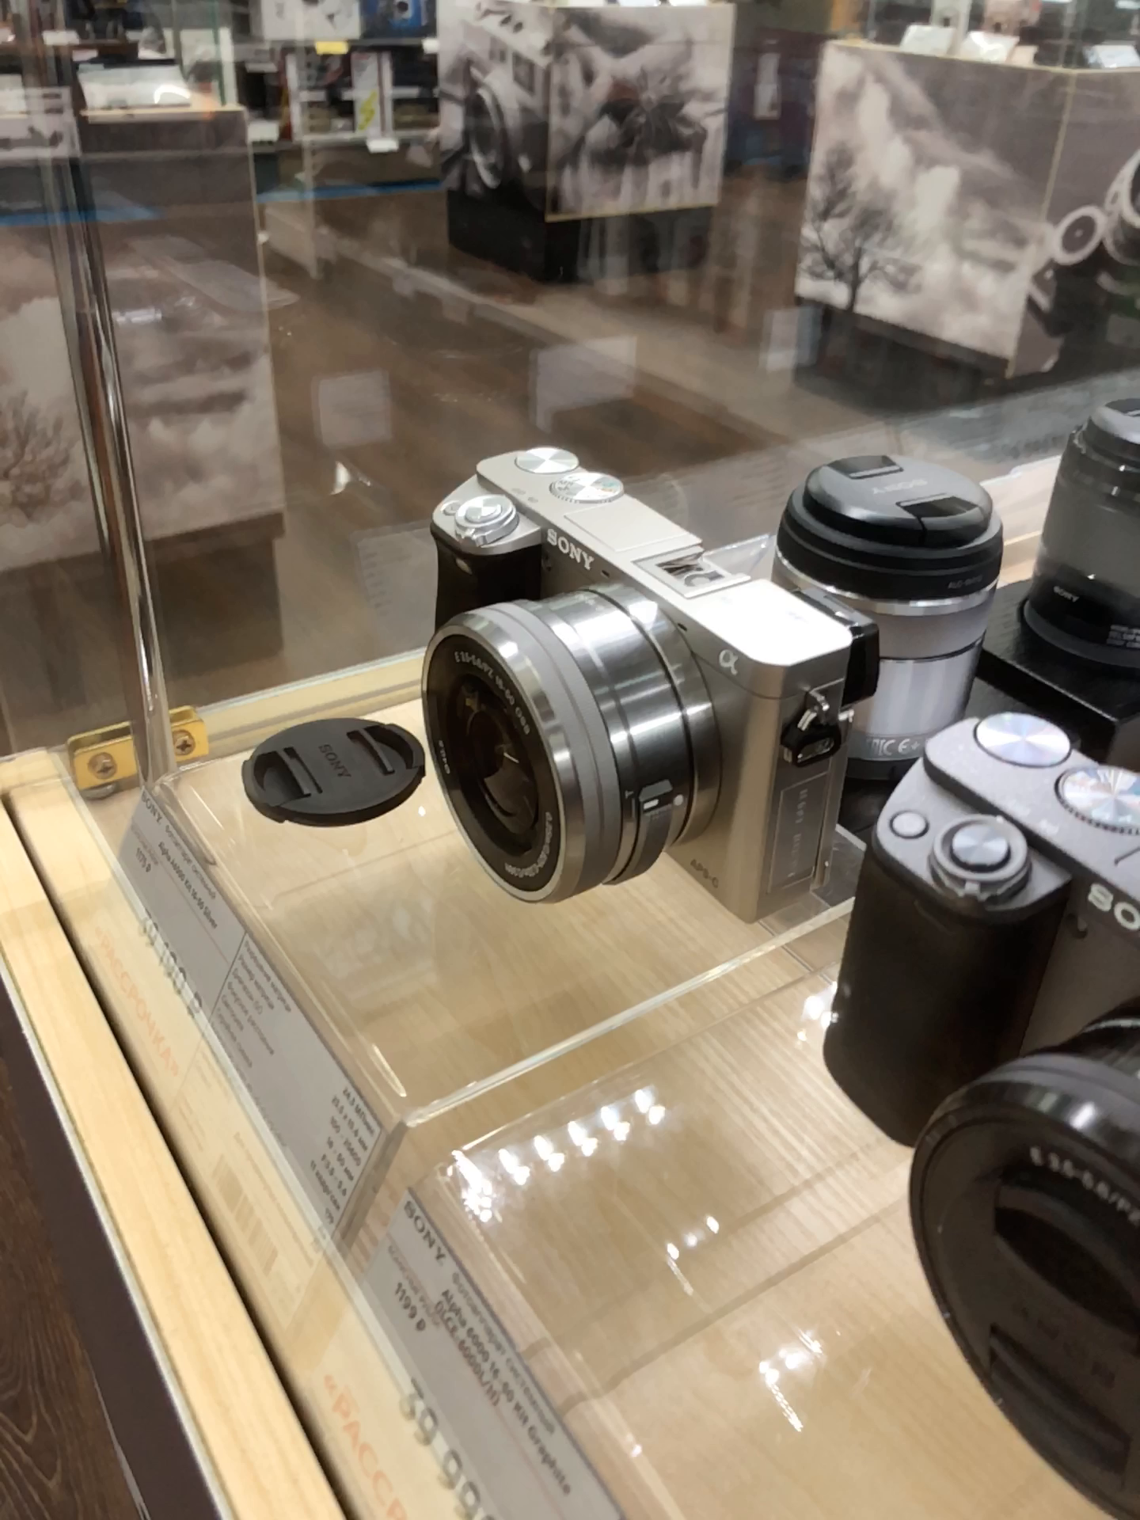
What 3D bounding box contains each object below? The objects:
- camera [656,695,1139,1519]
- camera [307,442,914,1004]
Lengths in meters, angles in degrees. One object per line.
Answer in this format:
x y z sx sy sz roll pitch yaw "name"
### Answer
0.083 0.055 0.188 0.076 0.061 0.128 -18 38 -27 "camera"
0.002 -0.018 0.290 0.076 0.061 0.124 -18 38 -27 "camera"
